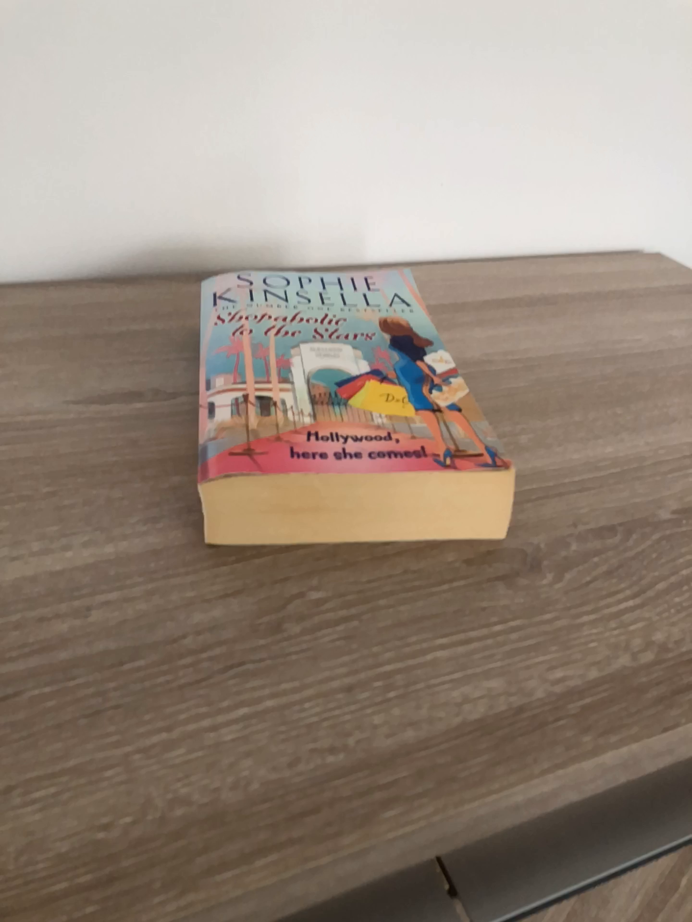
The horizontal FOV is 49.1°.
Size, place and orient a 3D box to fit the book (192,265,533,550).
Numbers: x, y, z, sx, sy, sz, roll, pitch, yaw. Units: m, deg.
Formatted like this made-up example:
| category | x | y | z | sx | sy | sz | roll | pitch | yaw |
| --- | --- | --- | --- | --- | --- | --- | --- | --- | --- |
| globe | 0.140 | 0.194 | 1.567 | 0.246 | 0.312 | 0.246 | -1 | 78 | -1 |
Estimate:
| category | x | y | z | sx | sy | sz | roll | pitch | yaw |
| --- | --- | --- | --- | --- | --- | --- | --- | --- | --- |
| book | -0.008 | -0.039 | 0.376 | 0.130 | 0.040 | 0.201 | 0 | 35 | -10 |
